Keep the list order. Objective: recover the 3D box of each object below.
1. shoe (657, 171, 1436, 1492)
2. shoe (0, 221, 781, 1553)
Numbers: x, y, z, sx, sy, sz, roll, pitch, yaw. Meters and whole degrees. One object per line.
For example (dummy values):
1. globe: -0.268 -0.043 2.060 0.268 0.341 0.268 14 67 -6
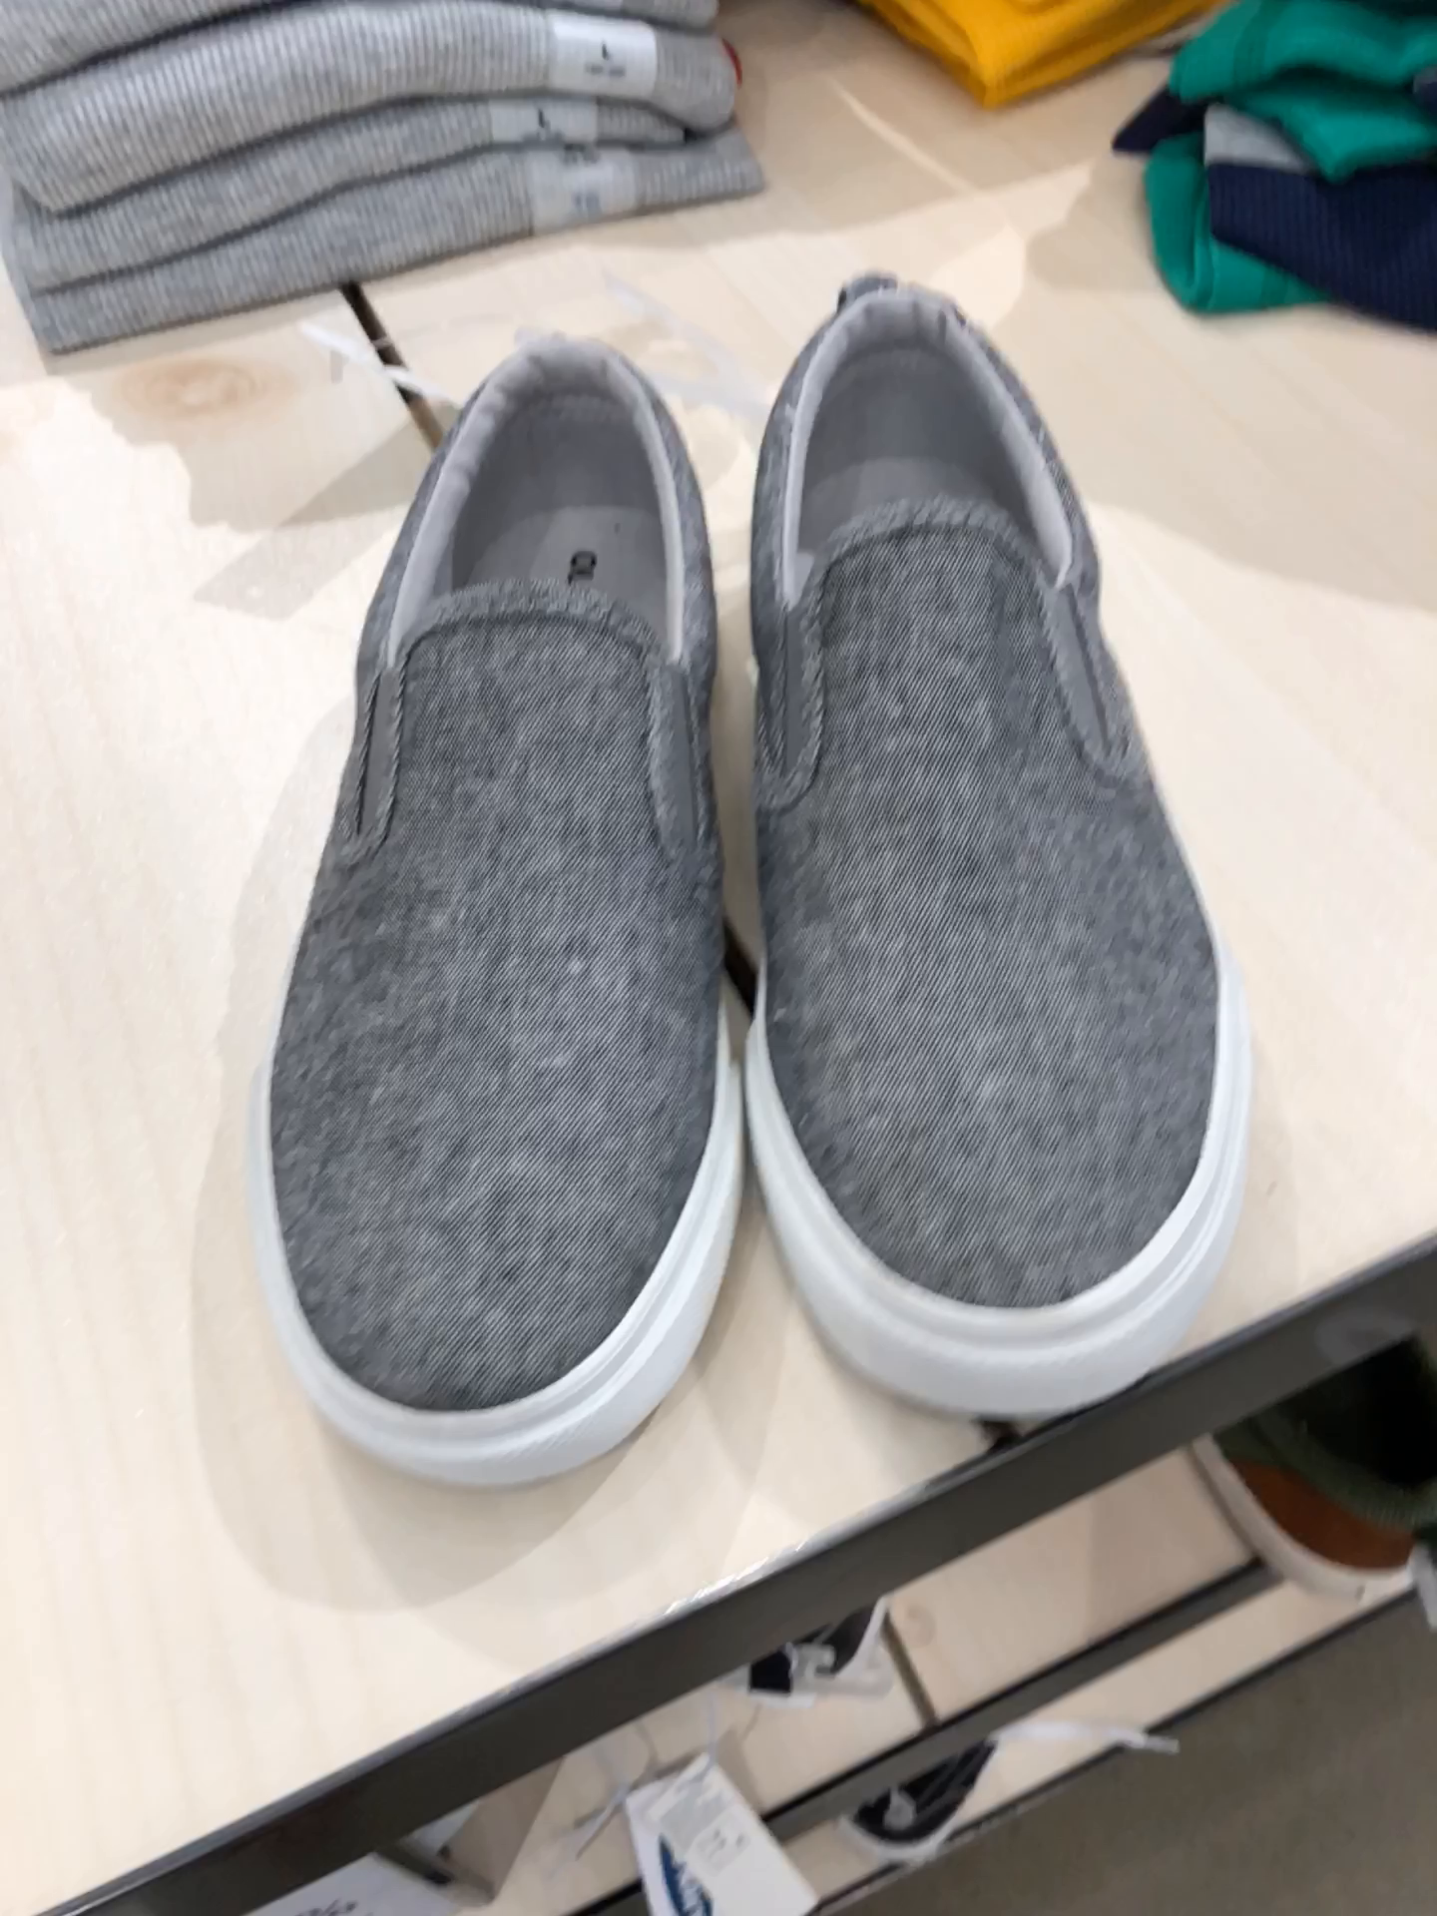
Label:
1. shoe: 0.044 -0.031 0.283 0.090 0.100 0.211 -6 54 1
2. shoe: -0.038 -0.020 0.277 0.090 0.100 0.211 -1 54 5
